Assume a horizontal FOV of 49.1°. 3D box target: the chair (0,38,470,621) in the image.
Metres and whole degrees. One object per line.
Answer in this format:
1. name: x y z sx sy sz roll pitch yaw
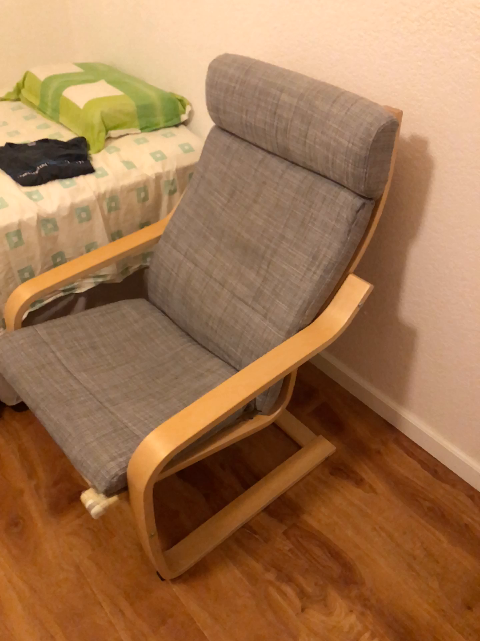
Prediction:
1. chair: -0.120 -0.042 1.219 0.802 0.885 0.683 -27 47 -29
